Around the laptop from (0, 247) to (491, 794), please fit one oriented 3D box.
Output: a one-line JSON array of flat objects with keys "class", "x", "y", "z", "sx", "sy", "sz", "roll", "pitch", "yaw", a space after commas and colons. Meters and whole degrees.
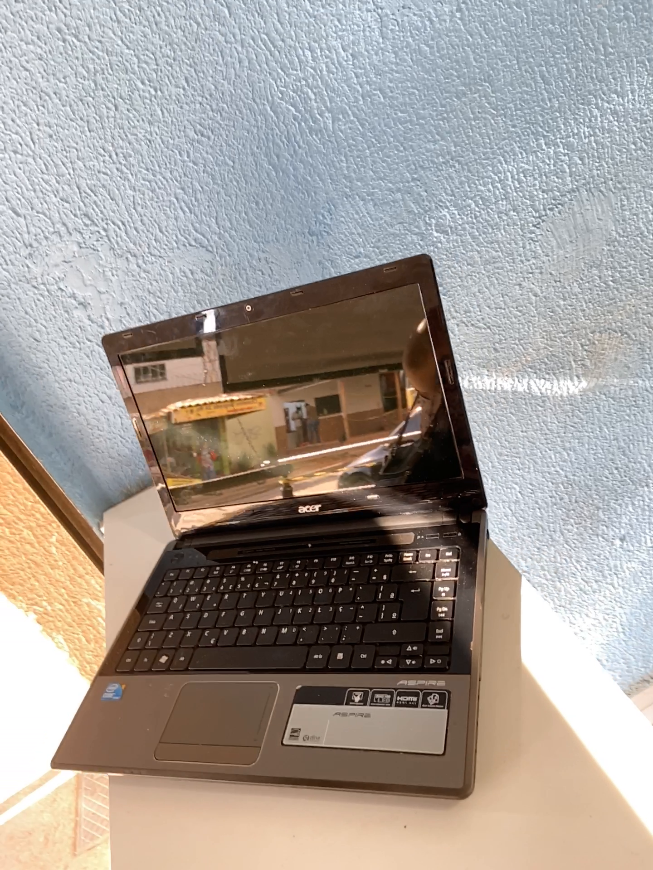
[{"class": "laptop", "x": -0.069, "y": 0.058, "z": 0.531, "sx": 0.336, "sy": 0.207, "sz": 0.320, "roll": -9, "pitch": 35, "yaw": 23}]
